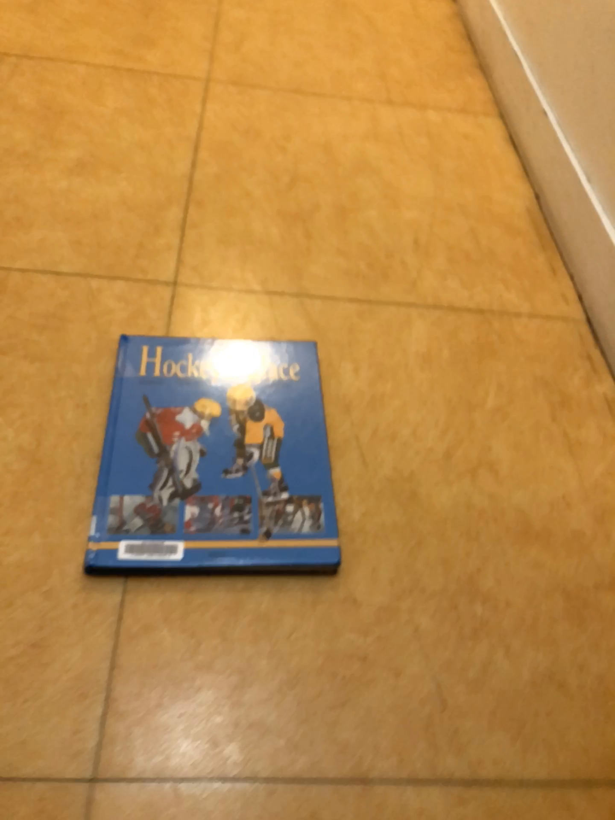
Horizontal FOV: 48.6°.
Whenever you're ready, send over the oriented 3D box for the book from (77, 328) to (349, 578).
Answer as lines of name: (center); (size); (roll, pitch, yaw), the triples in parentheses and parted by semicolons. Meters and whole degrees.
book: (-0.082, 0.027, 0.622); (0.210, 0.020, 0.261); (2, 50, -9)
